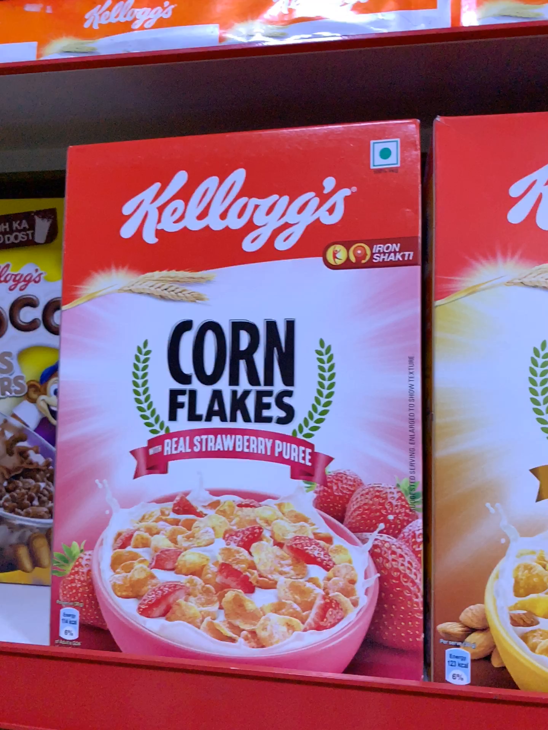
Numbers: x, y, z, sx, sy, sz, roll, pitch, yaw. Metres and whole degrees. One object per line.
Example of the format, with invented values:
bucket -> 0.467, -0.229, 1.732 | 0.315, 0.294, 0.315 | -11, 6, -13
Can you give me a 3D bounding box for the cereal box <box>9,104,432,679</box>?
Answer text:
cereal box -> -0.022, 0.007, 0.287 | 0.190, 0.240, 0.060 | 1, -4, 11
